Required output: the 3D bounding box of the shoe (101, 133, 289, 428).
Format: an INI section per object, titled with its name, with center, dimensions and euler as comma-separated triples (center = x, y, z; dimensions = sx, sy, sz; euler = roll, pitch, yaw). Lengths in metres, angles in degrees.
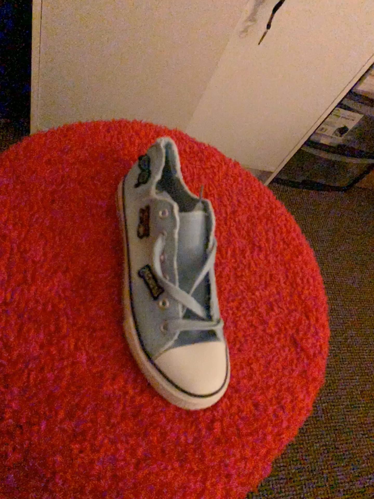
[shoe]
center = -0.010, 0.018, 0.359
dimensions = 0.097, 0.087, 0.251
euler = -2, 61, -24
